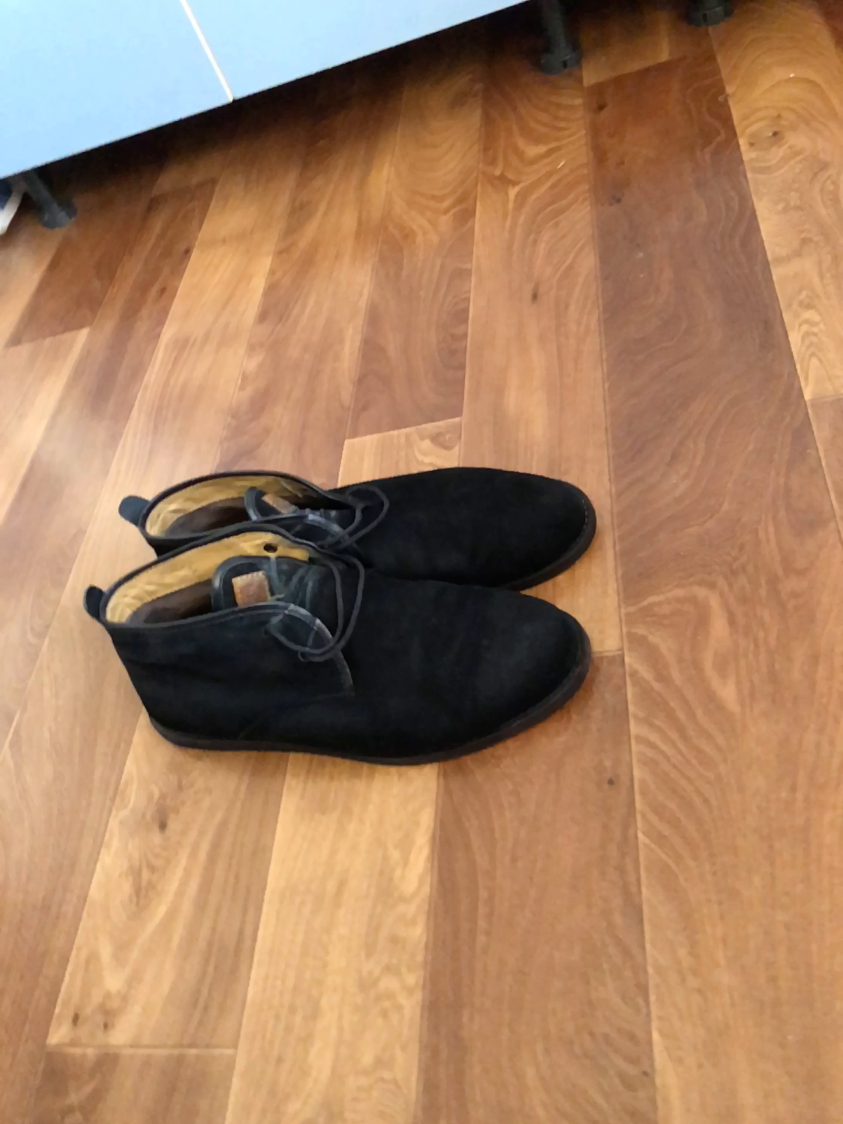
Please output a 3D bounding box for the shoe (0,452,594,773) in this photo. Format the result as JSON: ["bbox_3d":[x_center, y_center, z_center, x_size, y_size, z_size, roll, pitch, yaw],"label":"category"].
[{"bbox_3d":[-0.062,0.040,0.522,0.290,0.129,0.111,-5,52,20],"label":"shoe"}]

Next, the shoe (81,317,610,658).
[{"bbox_3d":[-0.041,-0.037,0.586,0.290,0.129,0.111,-9,50,17],"label":"shoe"}]
